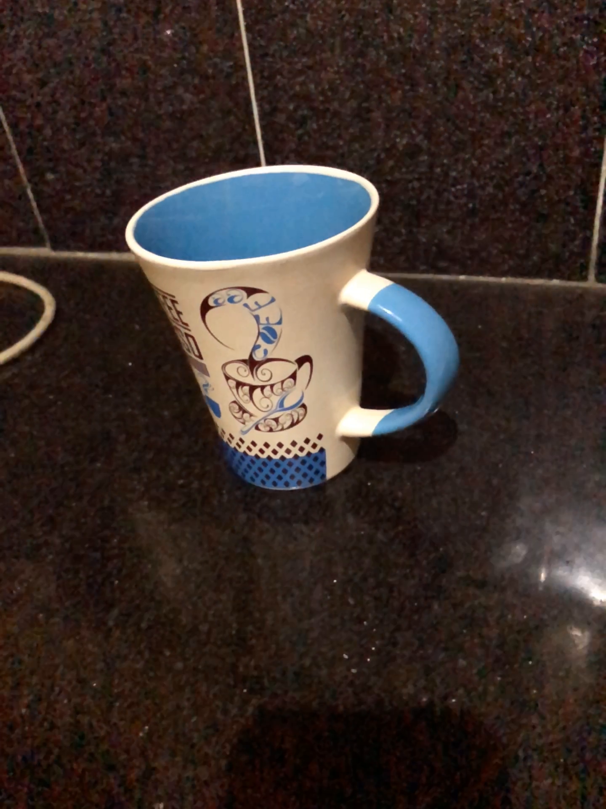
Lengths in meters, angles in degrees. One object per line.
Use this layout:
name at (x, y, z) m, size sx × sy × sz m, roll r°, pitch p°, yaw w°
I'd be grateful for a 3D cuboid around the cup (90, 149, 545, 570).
cup at (0.011, -0.027, 0.265) m, size 0.130 × 0.109 × 0.091 m, roll 16°, pitch 43°, yaw 30°
